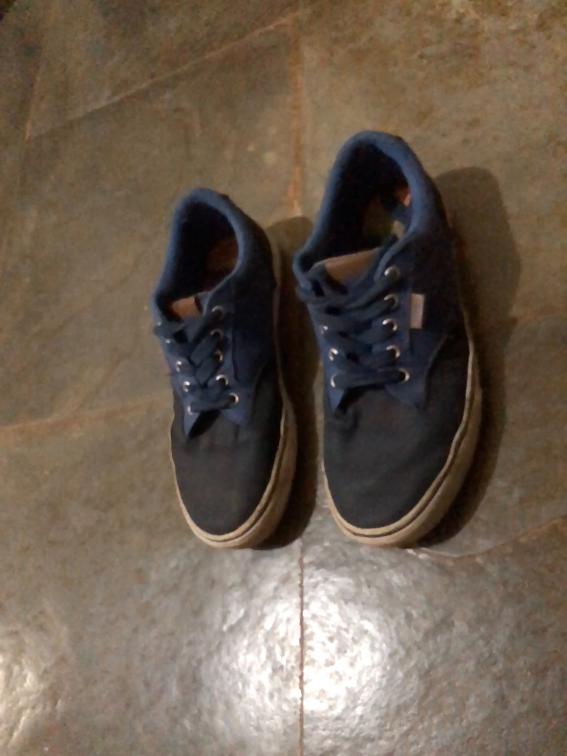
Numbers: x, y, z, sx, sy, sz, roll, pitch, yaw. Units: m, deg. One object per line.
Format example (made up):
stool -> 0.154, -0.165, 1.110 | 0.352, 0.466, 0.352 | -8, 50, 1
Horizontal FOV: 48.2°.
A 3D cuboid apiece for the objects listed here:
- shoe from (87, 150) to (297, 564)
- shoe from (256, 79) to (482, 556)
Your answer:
shoe -> -0.060, -0.015, 0.468 | 0.110, 0.080, 0.281 | -12, 65, 25
shoe -> 0.063, -0.039, 0.419 | 0.110, 0.080, 0.291 | -6, 68, 28
